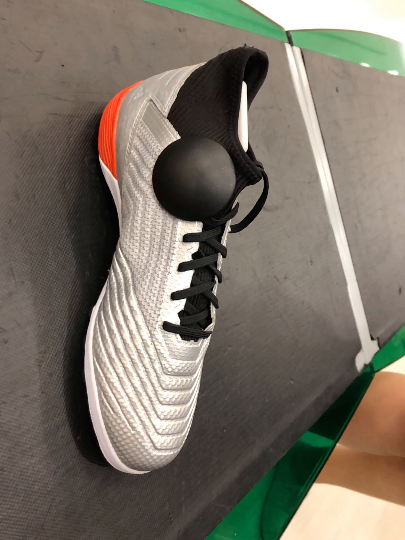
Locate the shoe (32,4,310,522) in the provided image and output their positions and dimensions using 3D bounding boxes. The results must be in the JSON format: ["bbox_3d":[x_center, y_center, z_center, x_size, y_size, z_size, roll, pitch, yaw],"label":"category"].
[{"bbox_3d":[-0.021,-0.002,0.289,0.091,0.139,0.250,14,72,-47],"label":"shoe"}]
